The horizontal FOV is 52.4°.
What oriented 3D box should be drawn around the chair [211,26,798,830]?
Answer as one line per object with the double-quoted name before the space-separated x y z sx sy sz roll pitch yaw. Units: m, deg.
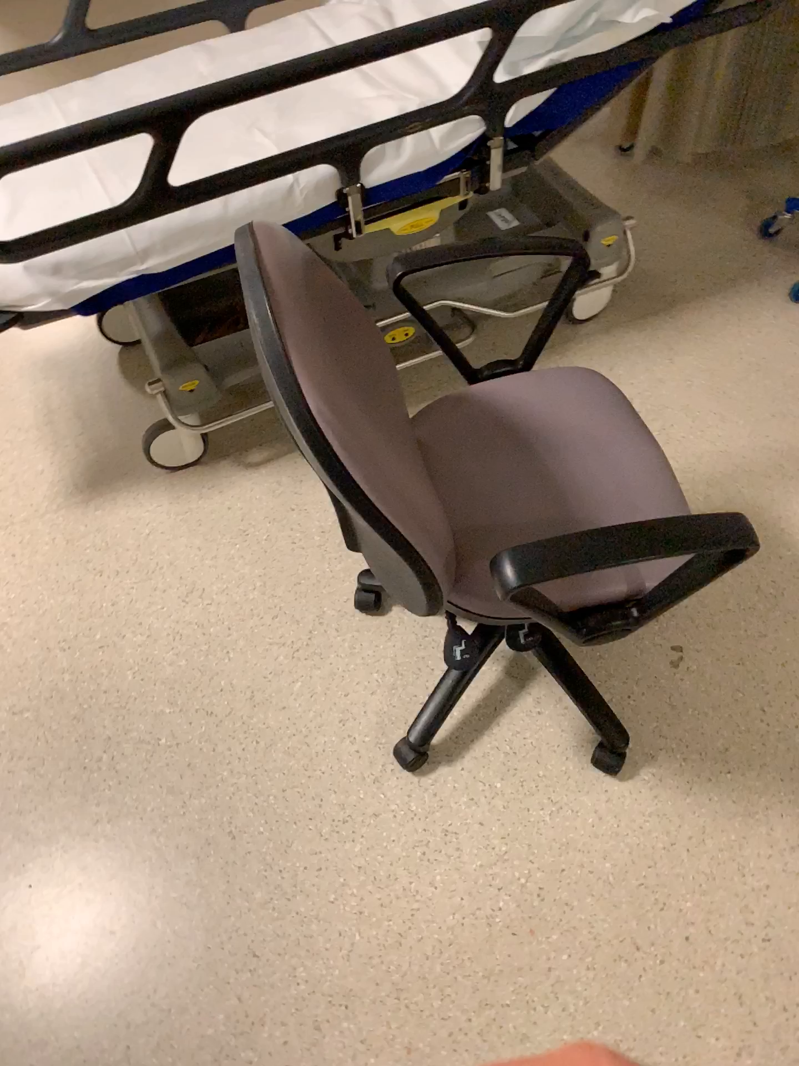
"chair" 0.193 -0.087 1.206 0.710 0.883 0.655 -10 54 -4
